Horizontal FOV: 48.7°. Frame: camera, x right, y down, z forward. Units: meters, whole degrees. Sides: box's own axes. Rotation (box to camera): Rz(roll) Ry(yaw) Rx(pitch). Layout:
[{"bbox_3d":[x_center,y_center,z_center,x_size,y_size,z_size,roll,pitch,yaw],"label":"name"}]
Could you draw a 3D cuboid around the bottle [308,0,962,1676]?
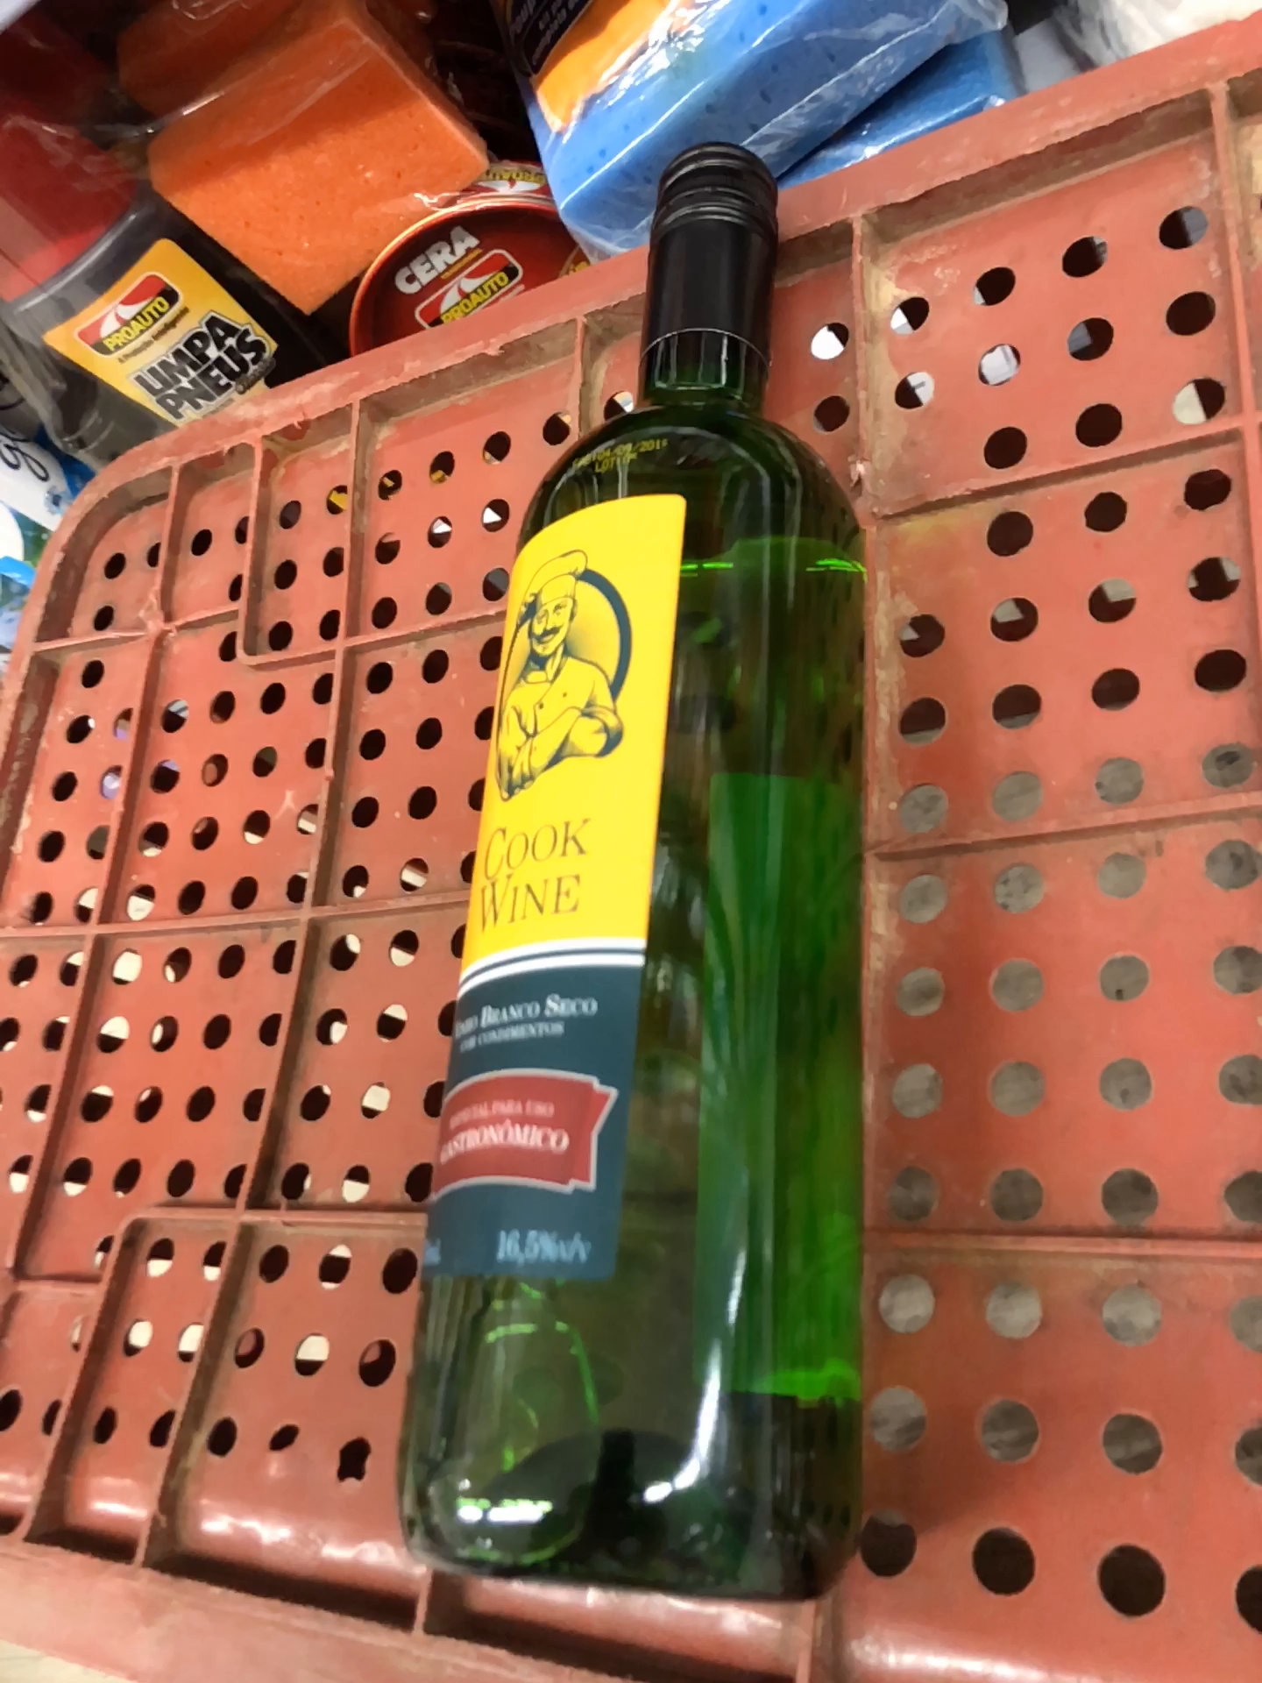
[{"bbox_3d":[0.008,-0.031,0.272,0.080,0.060,0.321,-16,61,40],"label":"bottle"}]
